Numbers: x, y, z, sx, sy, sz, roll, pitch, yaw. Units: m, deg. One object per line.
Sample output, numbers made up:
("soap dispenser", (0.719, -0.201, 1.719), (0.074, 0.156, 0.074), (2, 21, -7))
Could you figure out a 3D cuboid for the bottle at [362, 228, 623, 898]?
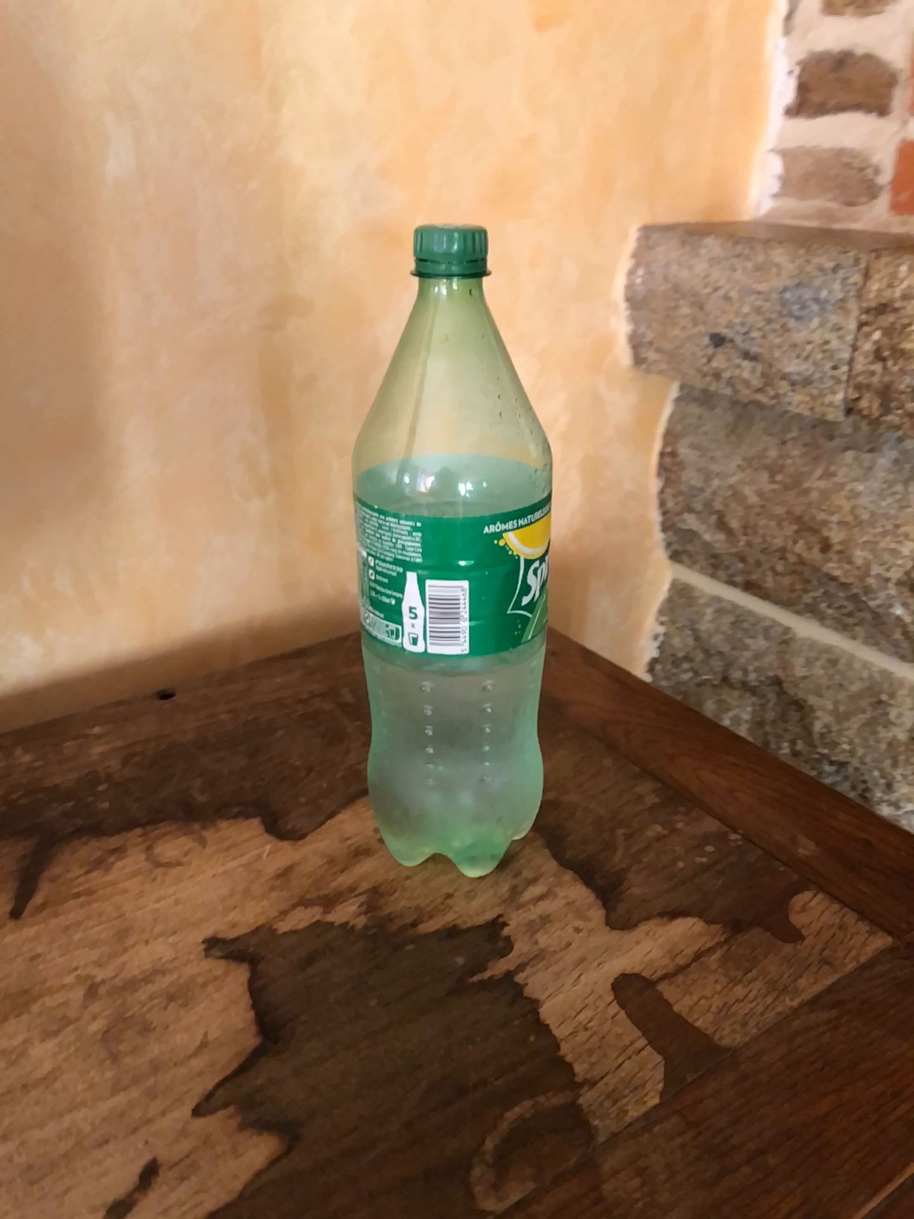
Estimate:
("bottle", (0.016, -0.018, 0.451), (0.090, 0.279, 0.091), (1, 24, 0))
